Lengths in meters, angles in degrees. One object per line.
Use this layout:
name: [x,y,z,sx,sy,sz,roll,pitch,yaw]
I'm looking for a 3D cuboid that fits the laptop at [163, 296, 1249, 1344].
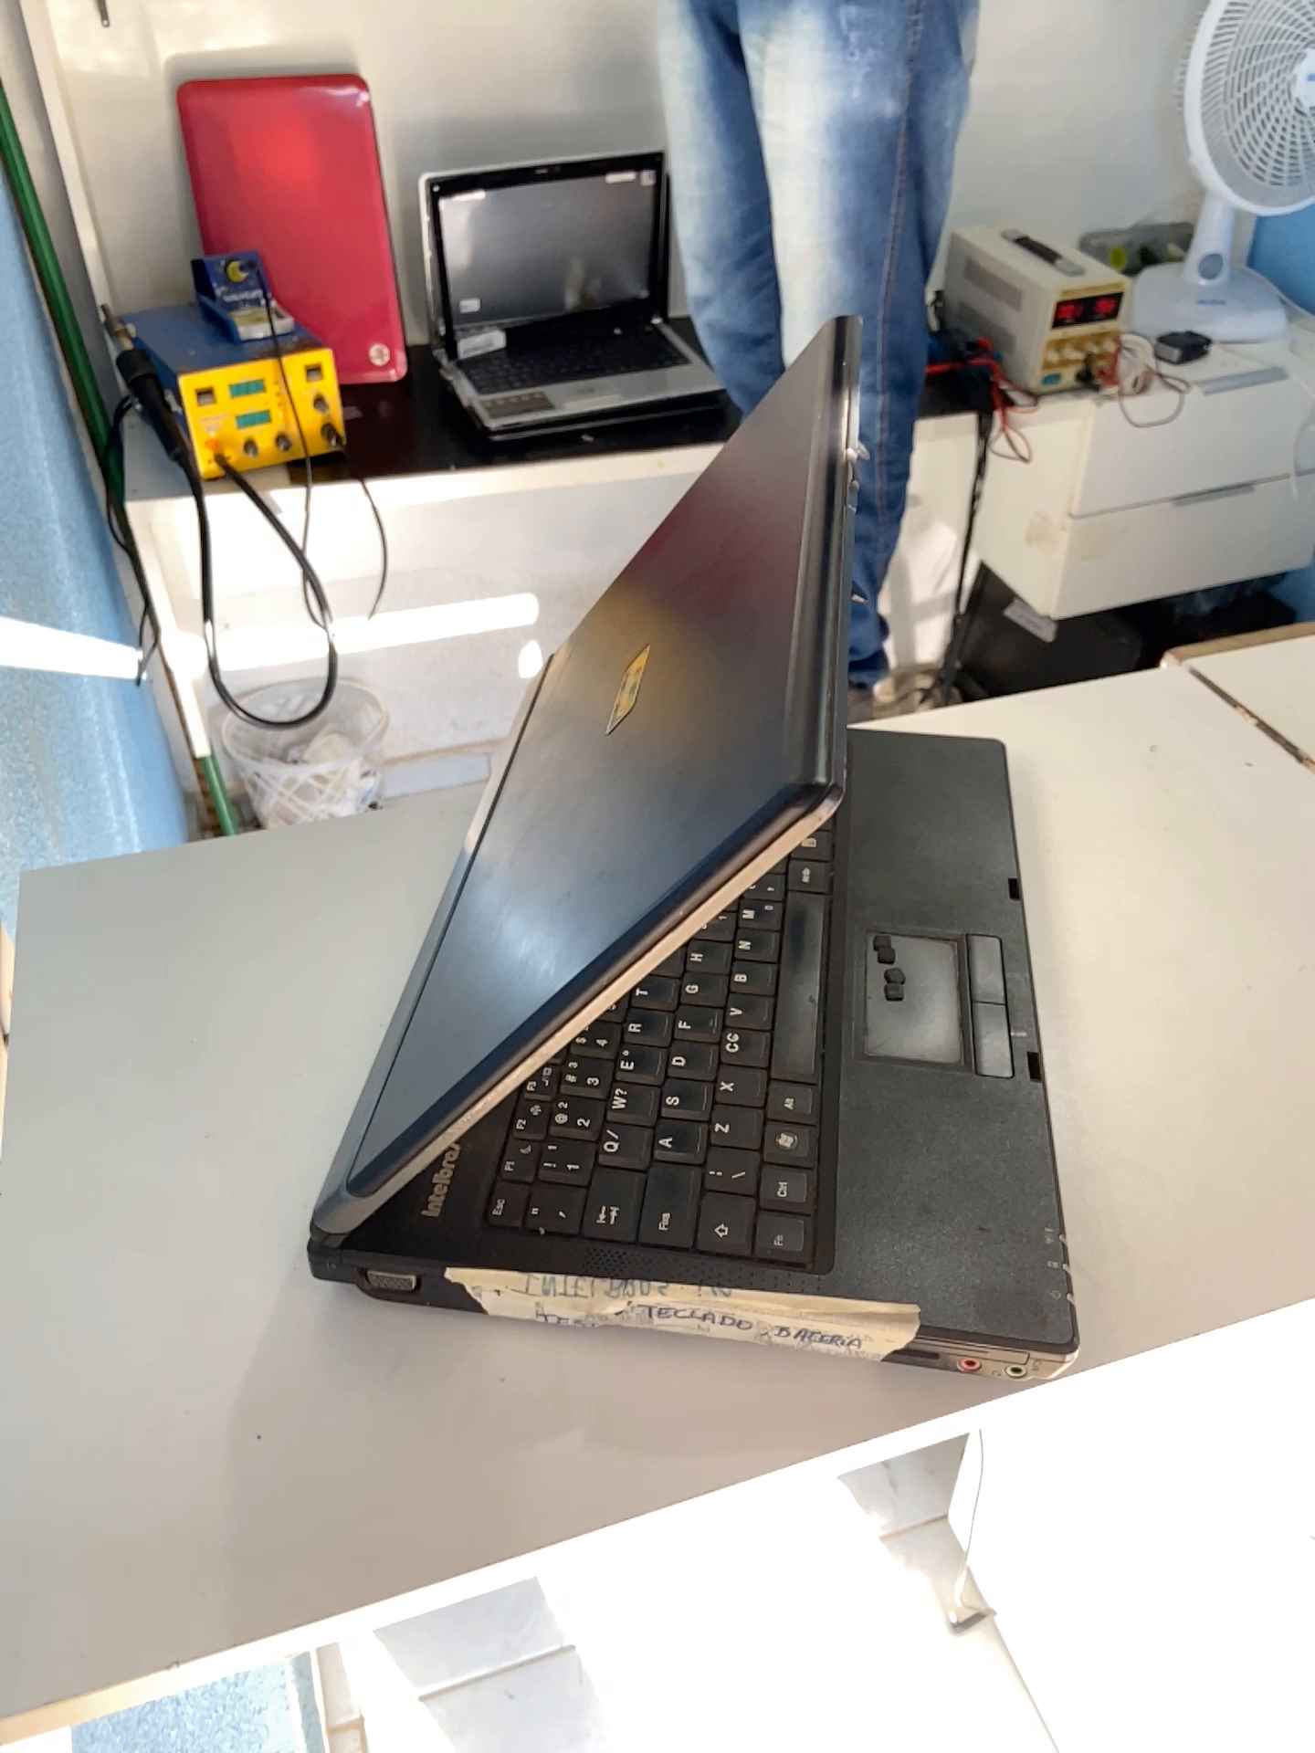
laptop: [0.026,-0.049,0.472,0.231,0.191,0.324,5,39,6]
